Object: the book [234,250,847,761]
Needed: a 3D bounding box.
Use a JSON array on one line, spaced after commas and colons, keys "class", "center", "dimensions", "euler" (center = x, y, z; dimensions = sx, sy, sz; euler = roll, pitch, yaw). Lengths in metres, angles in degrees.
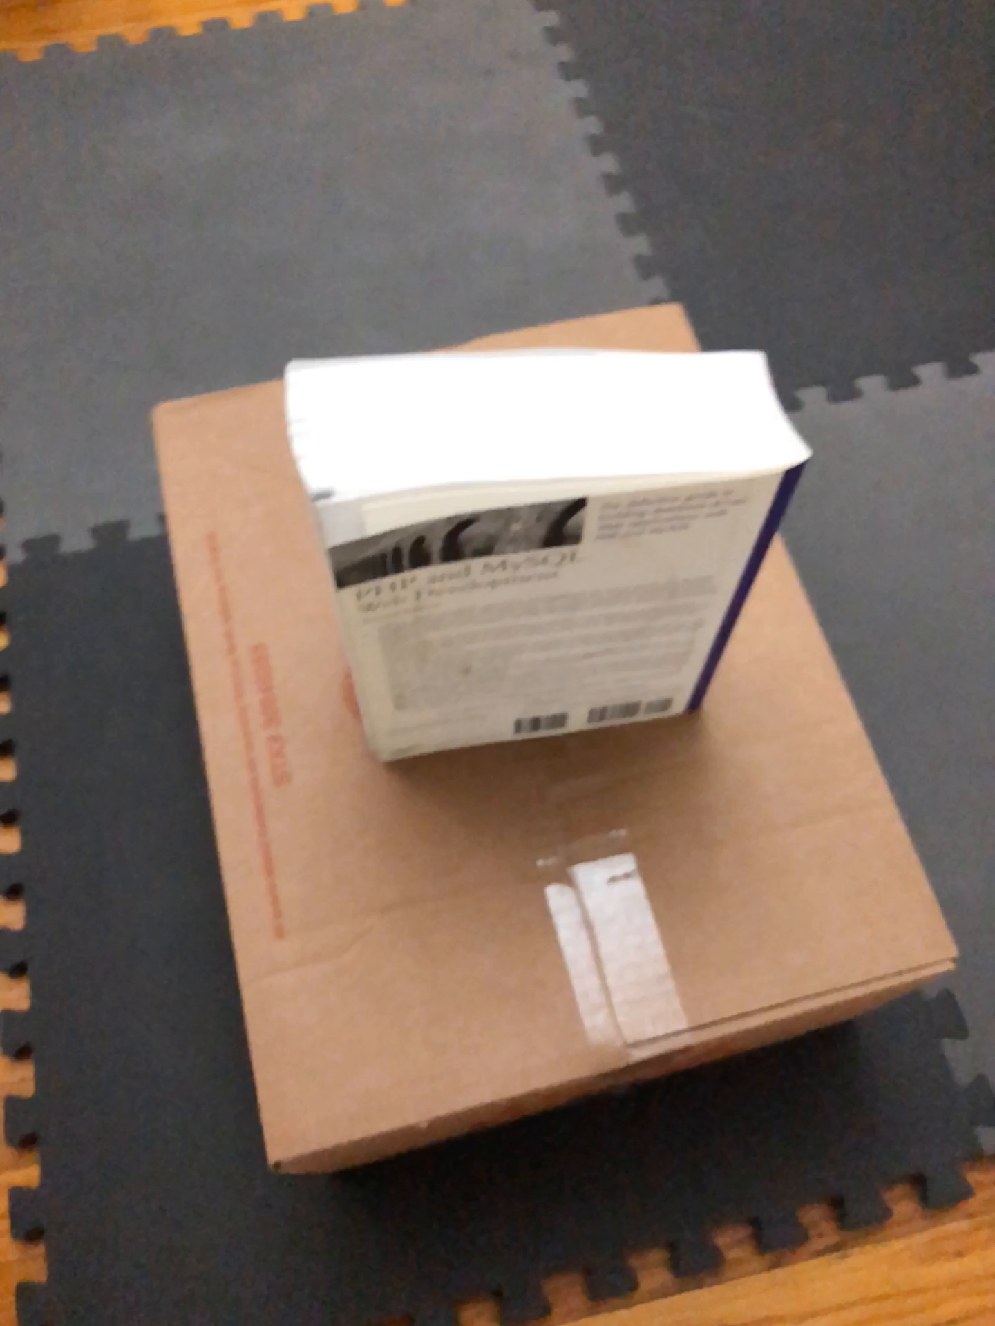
[{"class": "book", "center": [0.014, -0.049, 0.498], "dimensions": [0.200, 0.259, 0.090], "euler": [1, 63, 0]}]
